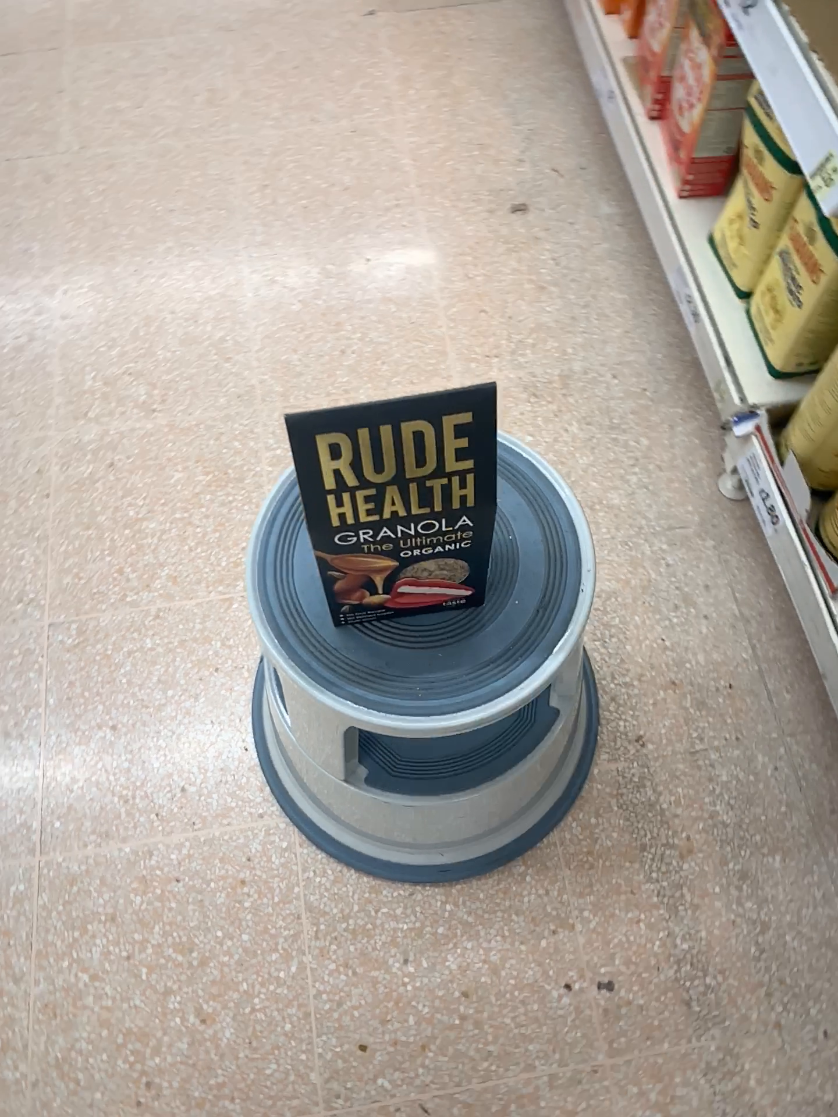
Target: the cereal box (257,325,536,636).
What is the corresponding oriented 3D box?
[{"bbox_3d":[-0.012,-0.034,0.571,0.140,0.259,0.070,-8,65,-3],"label":"cereal box"}]
